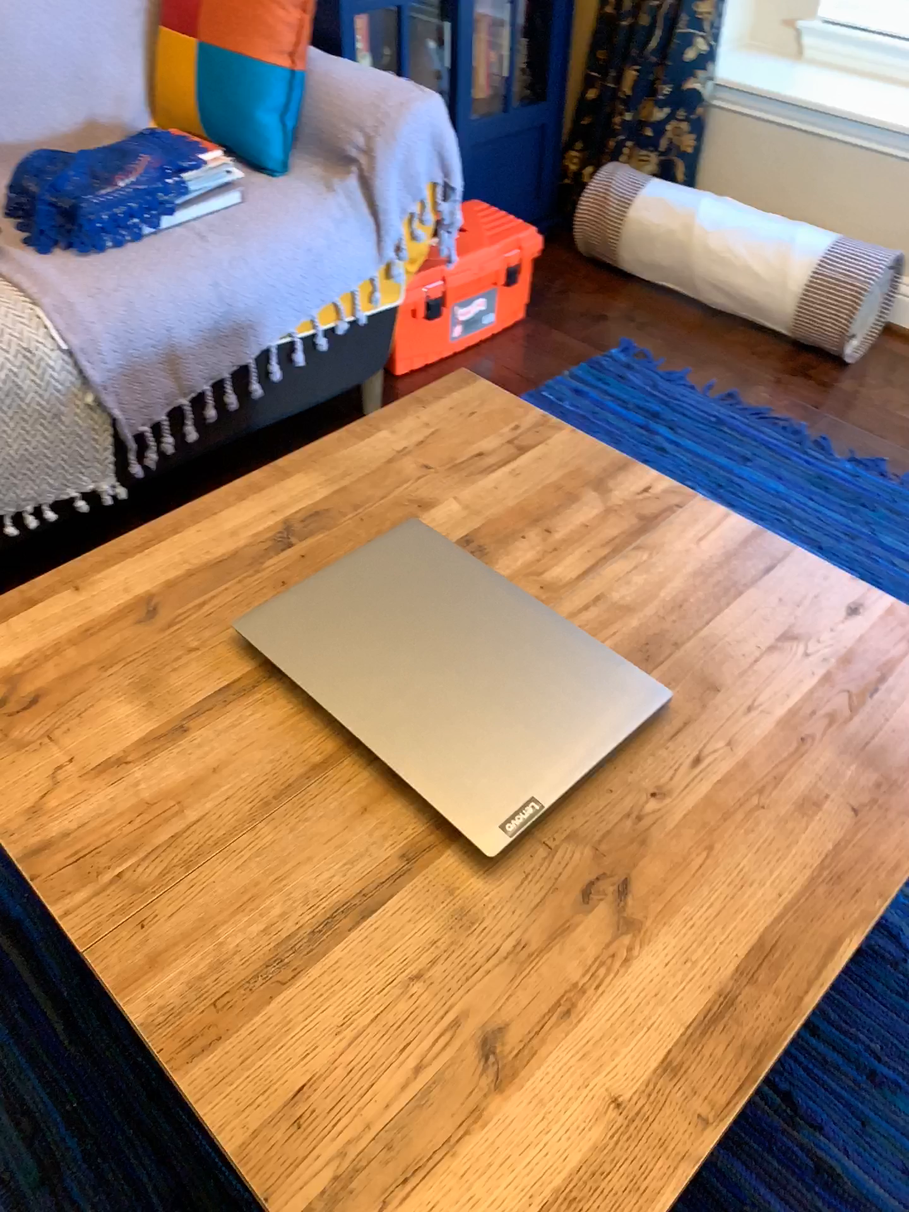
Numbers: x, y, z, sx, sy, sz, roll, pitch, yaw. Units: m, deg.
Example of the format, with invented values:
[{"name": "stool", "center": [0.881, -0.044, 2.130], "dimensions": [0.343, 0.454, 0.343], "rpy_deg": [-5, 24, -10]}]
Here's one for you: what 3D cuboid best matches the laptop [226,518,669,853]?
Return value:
[{"name": "laptop", "center": [-0.013, 0.047, 0.869], "dimensions": [0.238, 0.011, 0.348], "rpy_deg": [-33, 52, -32]}]
